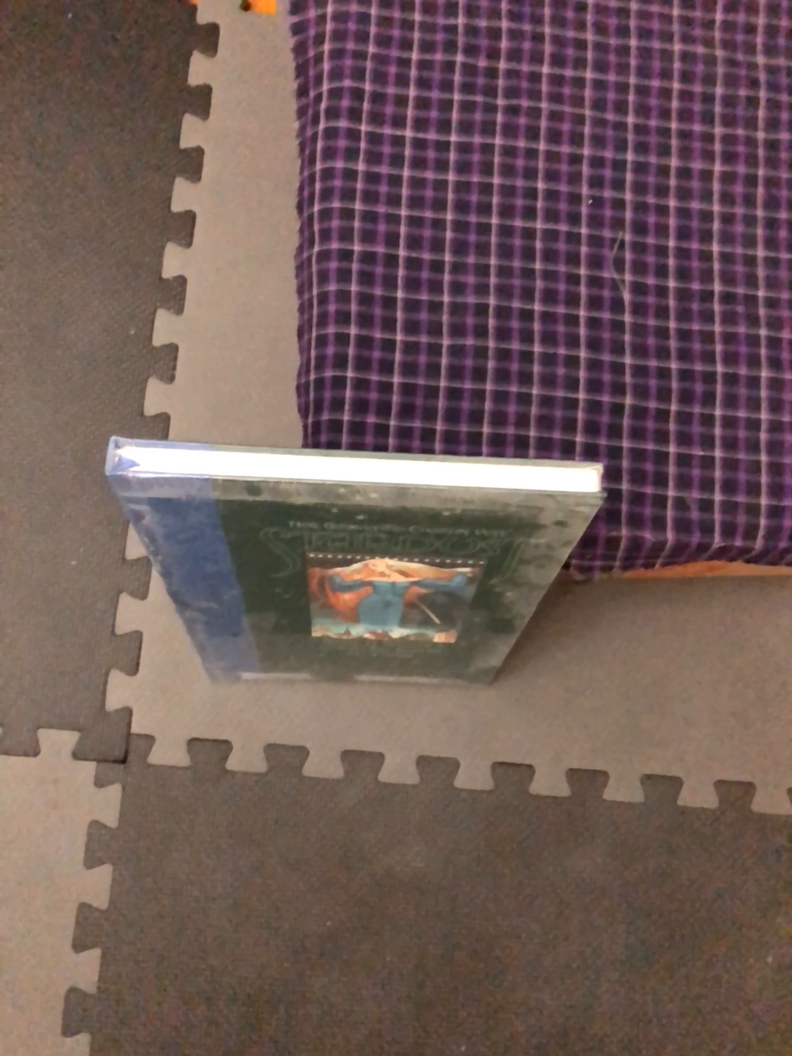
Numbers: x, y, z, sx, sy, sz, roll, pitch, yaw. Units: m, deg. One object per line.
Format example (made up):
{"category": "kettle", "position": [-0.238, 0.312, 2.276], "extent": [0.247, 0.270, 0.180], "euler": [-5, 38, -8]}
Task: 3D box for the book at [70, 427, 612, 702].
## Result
{"category": "book", "position": [-0.028, 0.044, 0.493], "extent": [0.210, 0.330, 0.020], "euler": [2, 65, -2]}
